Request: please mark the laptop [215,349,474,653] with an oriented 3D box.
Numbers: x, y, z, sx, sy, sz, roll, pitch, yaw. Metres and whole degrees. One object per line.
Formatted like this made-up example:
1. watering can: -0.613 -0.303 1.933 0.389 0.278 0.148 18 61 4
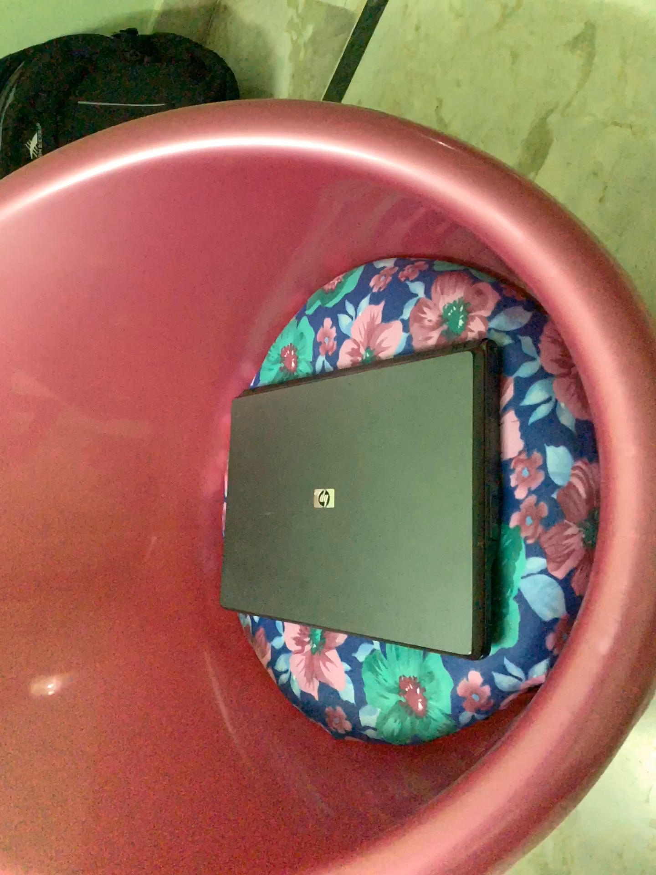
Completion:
1. laptop: -0.003 0.054 0.597 0.305 0.003 0.222 -6 80 44
